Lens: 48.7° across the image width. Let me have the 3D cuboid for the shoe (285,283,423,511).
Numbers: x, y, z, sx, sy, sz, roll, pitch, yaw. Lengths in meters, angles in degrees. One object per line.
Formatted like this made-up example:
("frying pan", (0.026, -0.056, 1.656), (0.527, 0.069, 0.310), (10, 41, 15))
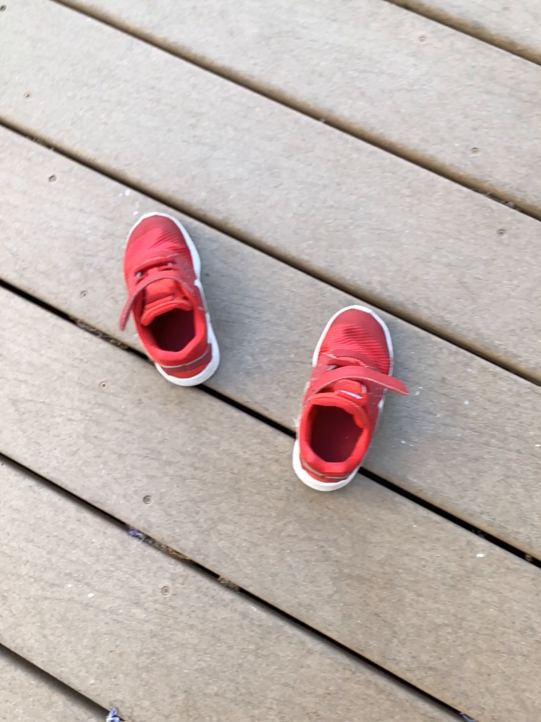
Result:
("shoe", (0.067, 0.030, 0.495), (0.069, 0.070, 0.164), (14, 81, 5))

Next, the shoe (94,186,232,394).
("shoe", (-0.091, -0.058, 0.520), (0.073, 0.070, 0.153), (-15, 80, 0))
